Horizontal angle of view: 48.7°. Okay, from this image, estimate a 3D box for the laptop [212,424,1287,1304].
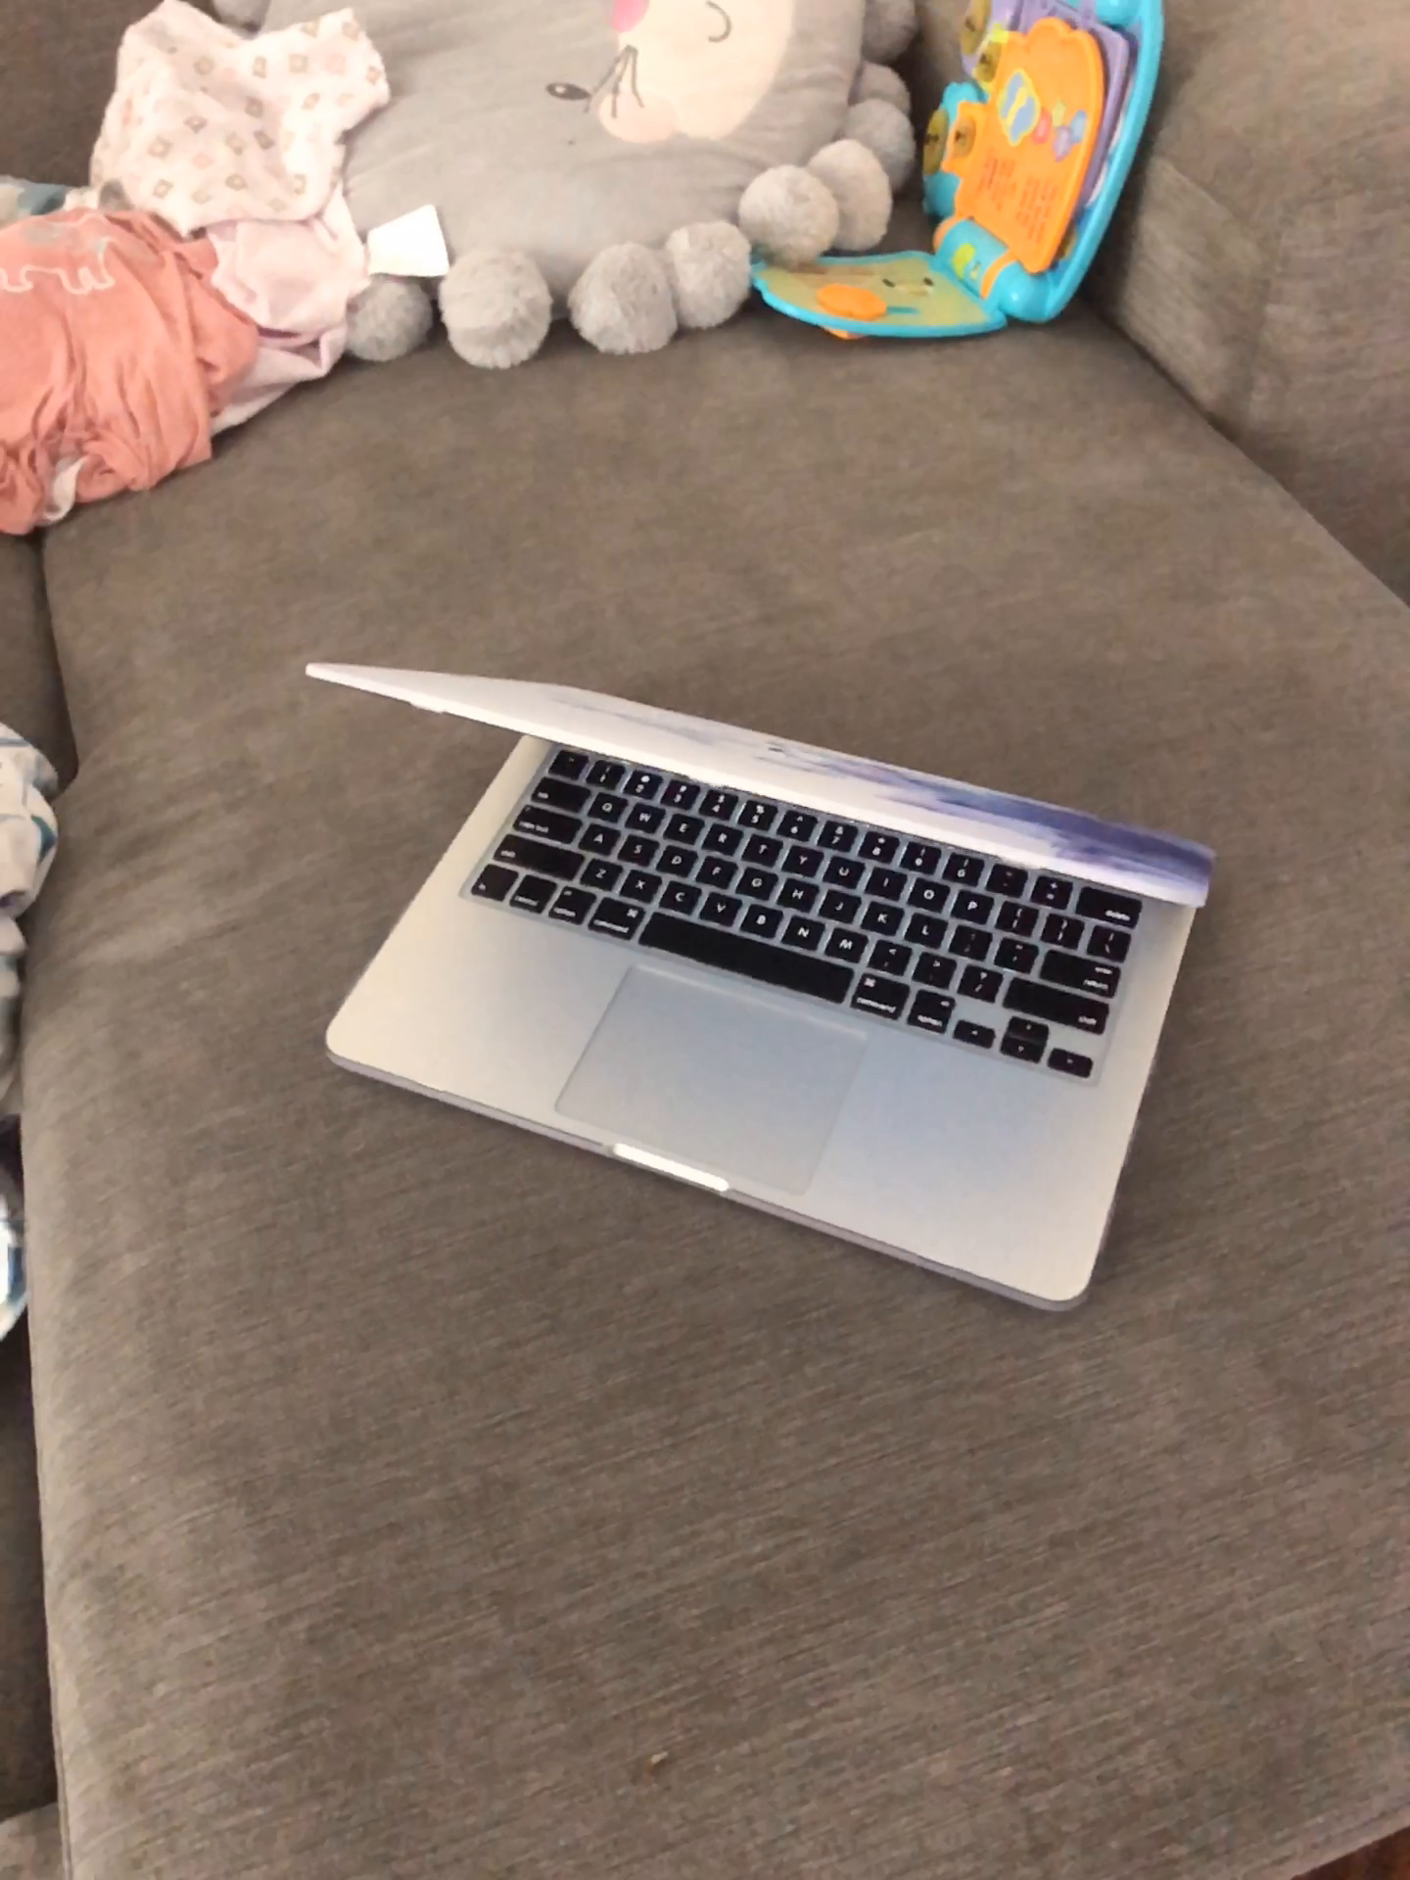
[{"bbox_3d":[0.025,-0.042,0.585,0.308,0.137,0.218,17,55,16],"label":"laptop"}]
